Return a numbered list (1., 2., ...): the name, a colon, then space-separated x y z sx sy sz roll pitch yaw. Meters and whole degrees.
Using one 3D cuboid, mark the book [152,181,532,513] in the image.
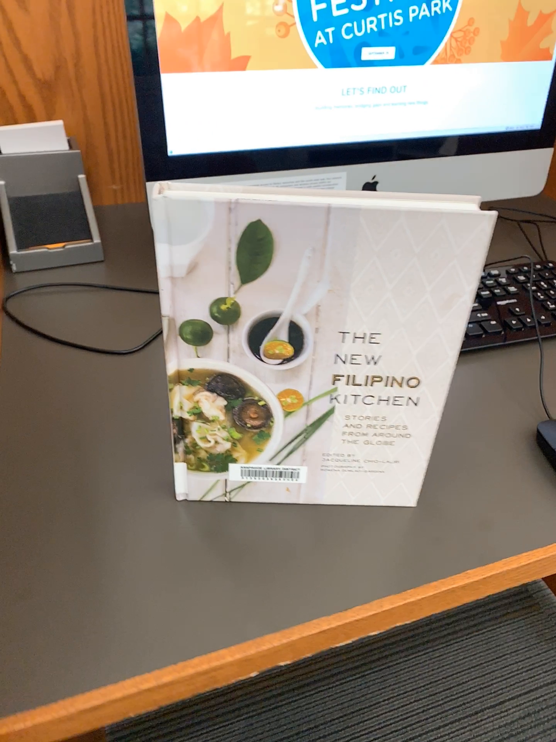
1. book: 0.029 0.001 0.370 0.193 0.229 0.030 2 36 -1
